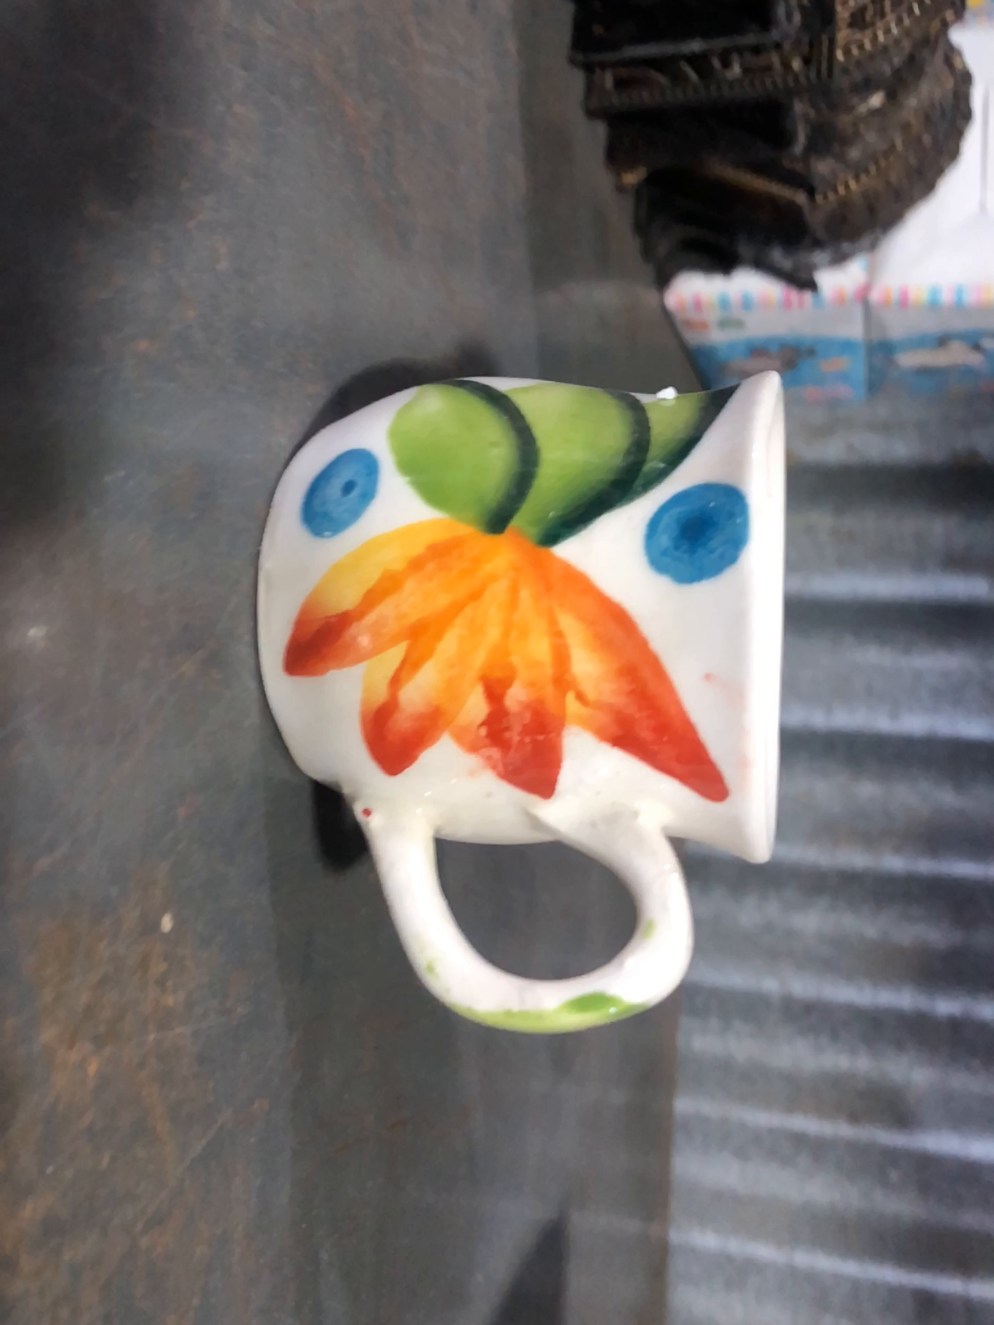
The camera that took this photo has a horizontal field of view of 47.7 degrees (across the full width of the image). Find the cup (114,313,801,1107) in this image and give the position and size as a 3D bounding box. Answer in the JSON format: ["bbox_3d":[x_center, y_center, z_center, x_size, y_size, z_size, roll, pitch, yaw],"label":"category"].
[{"bbox_3d":[0.006,0.010,0.164,0.070,0.070,0.090,62,33,-62],"label":"cup"}]
